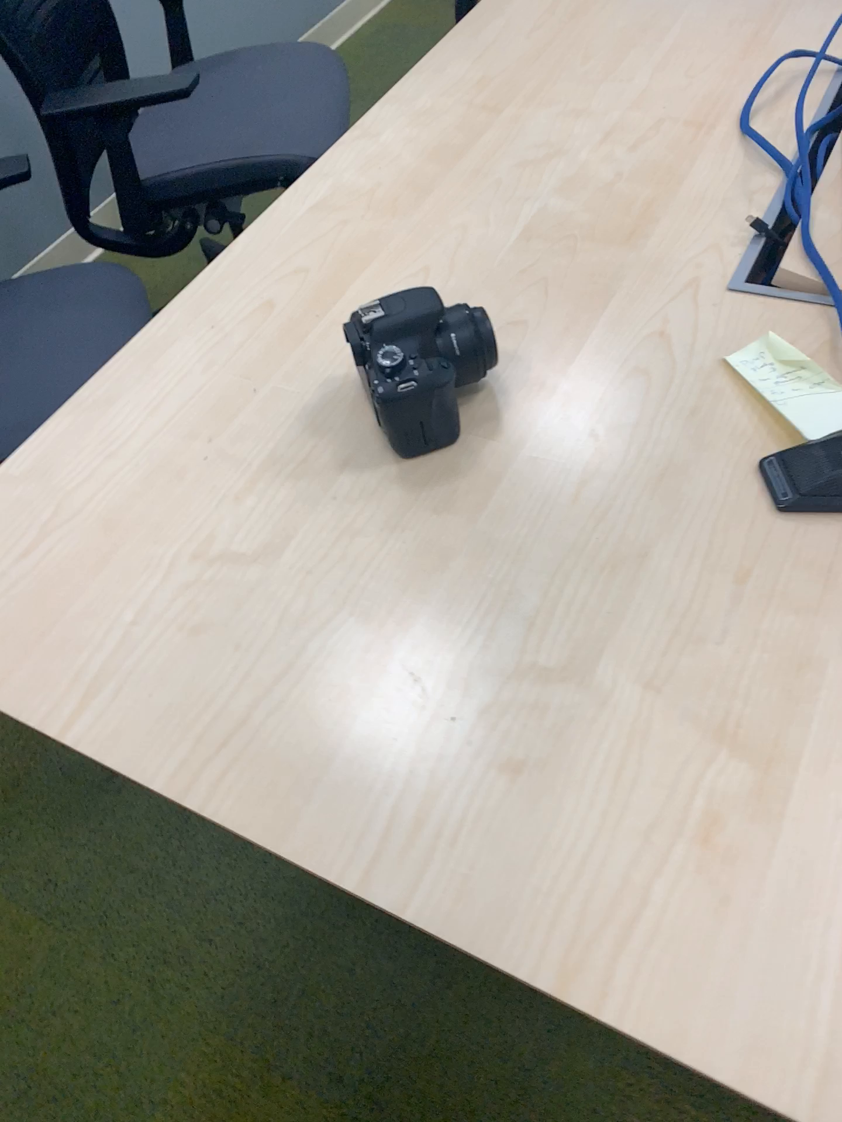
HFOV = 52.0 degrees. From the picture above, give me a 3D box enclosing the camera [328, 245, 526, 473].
[{"bbox_3d":[0.005,-0.174,0.740,0.123,0.100,0.141,-18,51,-4],"label":"camera"}]
